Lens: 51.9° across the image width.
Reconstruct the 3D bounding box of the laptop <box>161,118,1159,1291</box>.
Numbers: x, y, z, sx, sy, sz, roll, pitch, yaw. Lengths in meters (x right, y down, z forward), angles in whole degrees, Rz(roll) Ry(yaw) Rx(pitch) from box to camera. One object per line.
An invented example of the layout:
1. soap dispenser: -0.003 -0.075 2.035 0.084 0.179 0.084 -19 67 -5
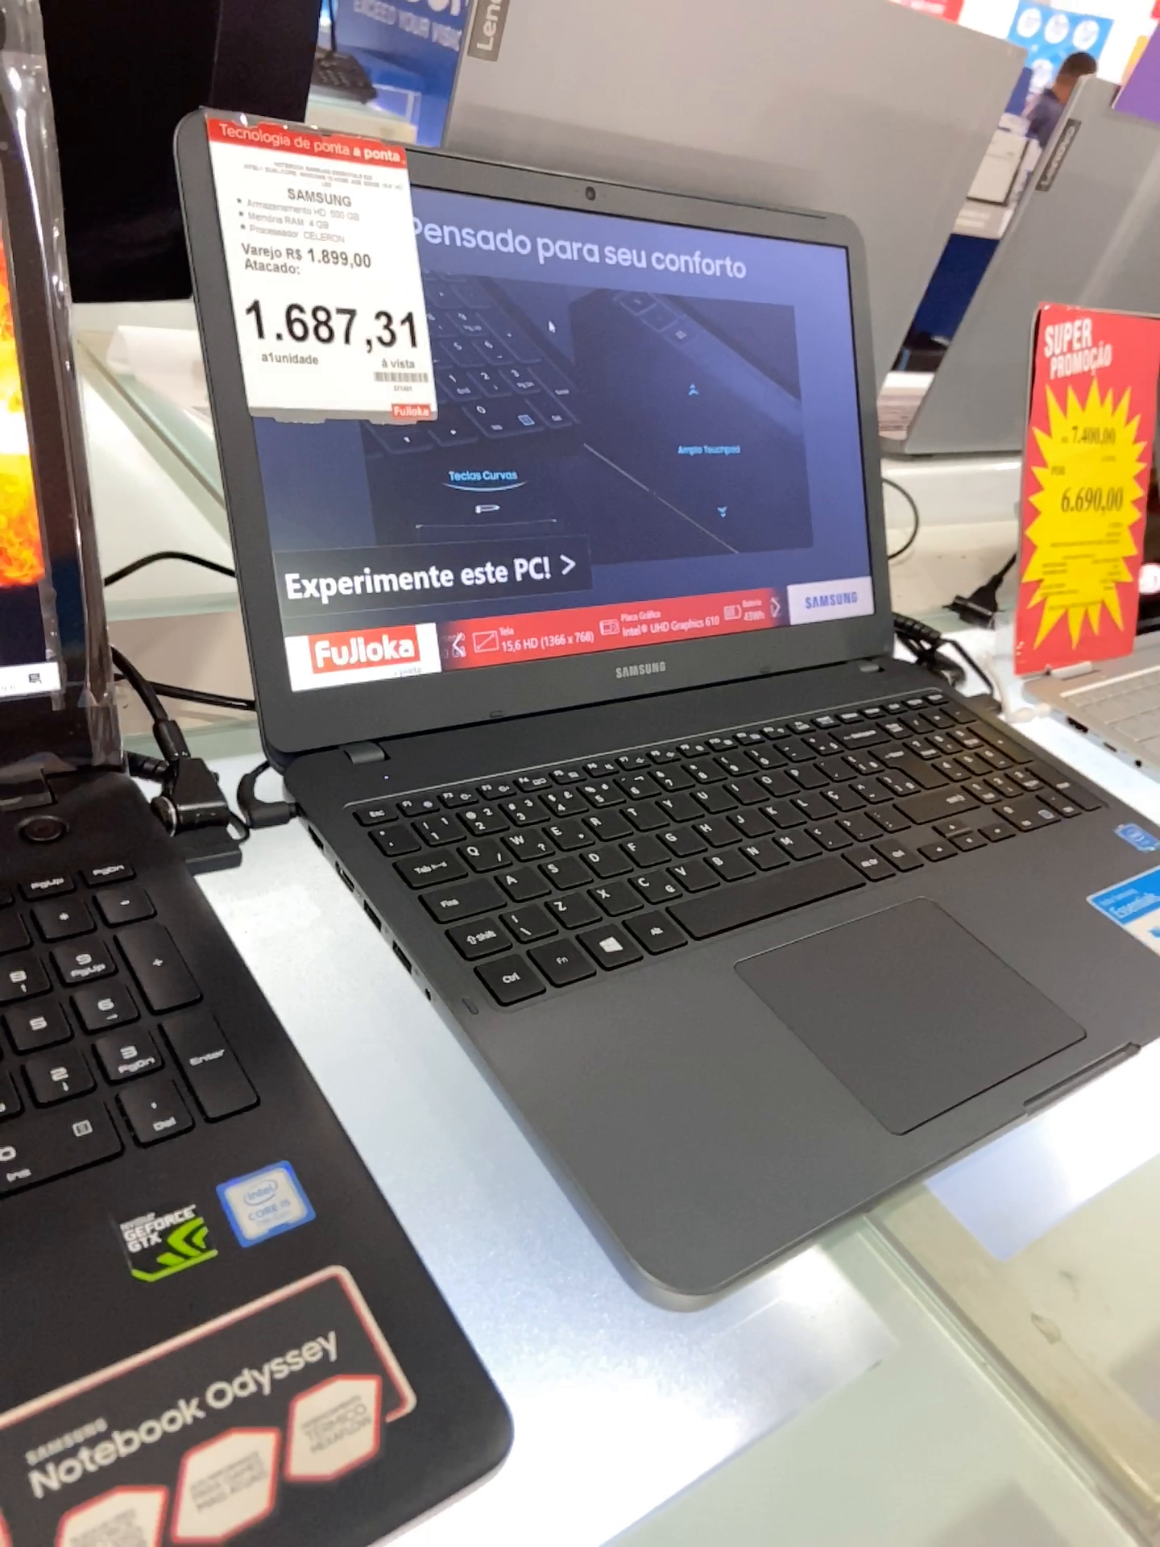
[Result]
1. laptop: 0.085 -0.083 0.470 0.367 0.196 0.371 -11 40 -35
